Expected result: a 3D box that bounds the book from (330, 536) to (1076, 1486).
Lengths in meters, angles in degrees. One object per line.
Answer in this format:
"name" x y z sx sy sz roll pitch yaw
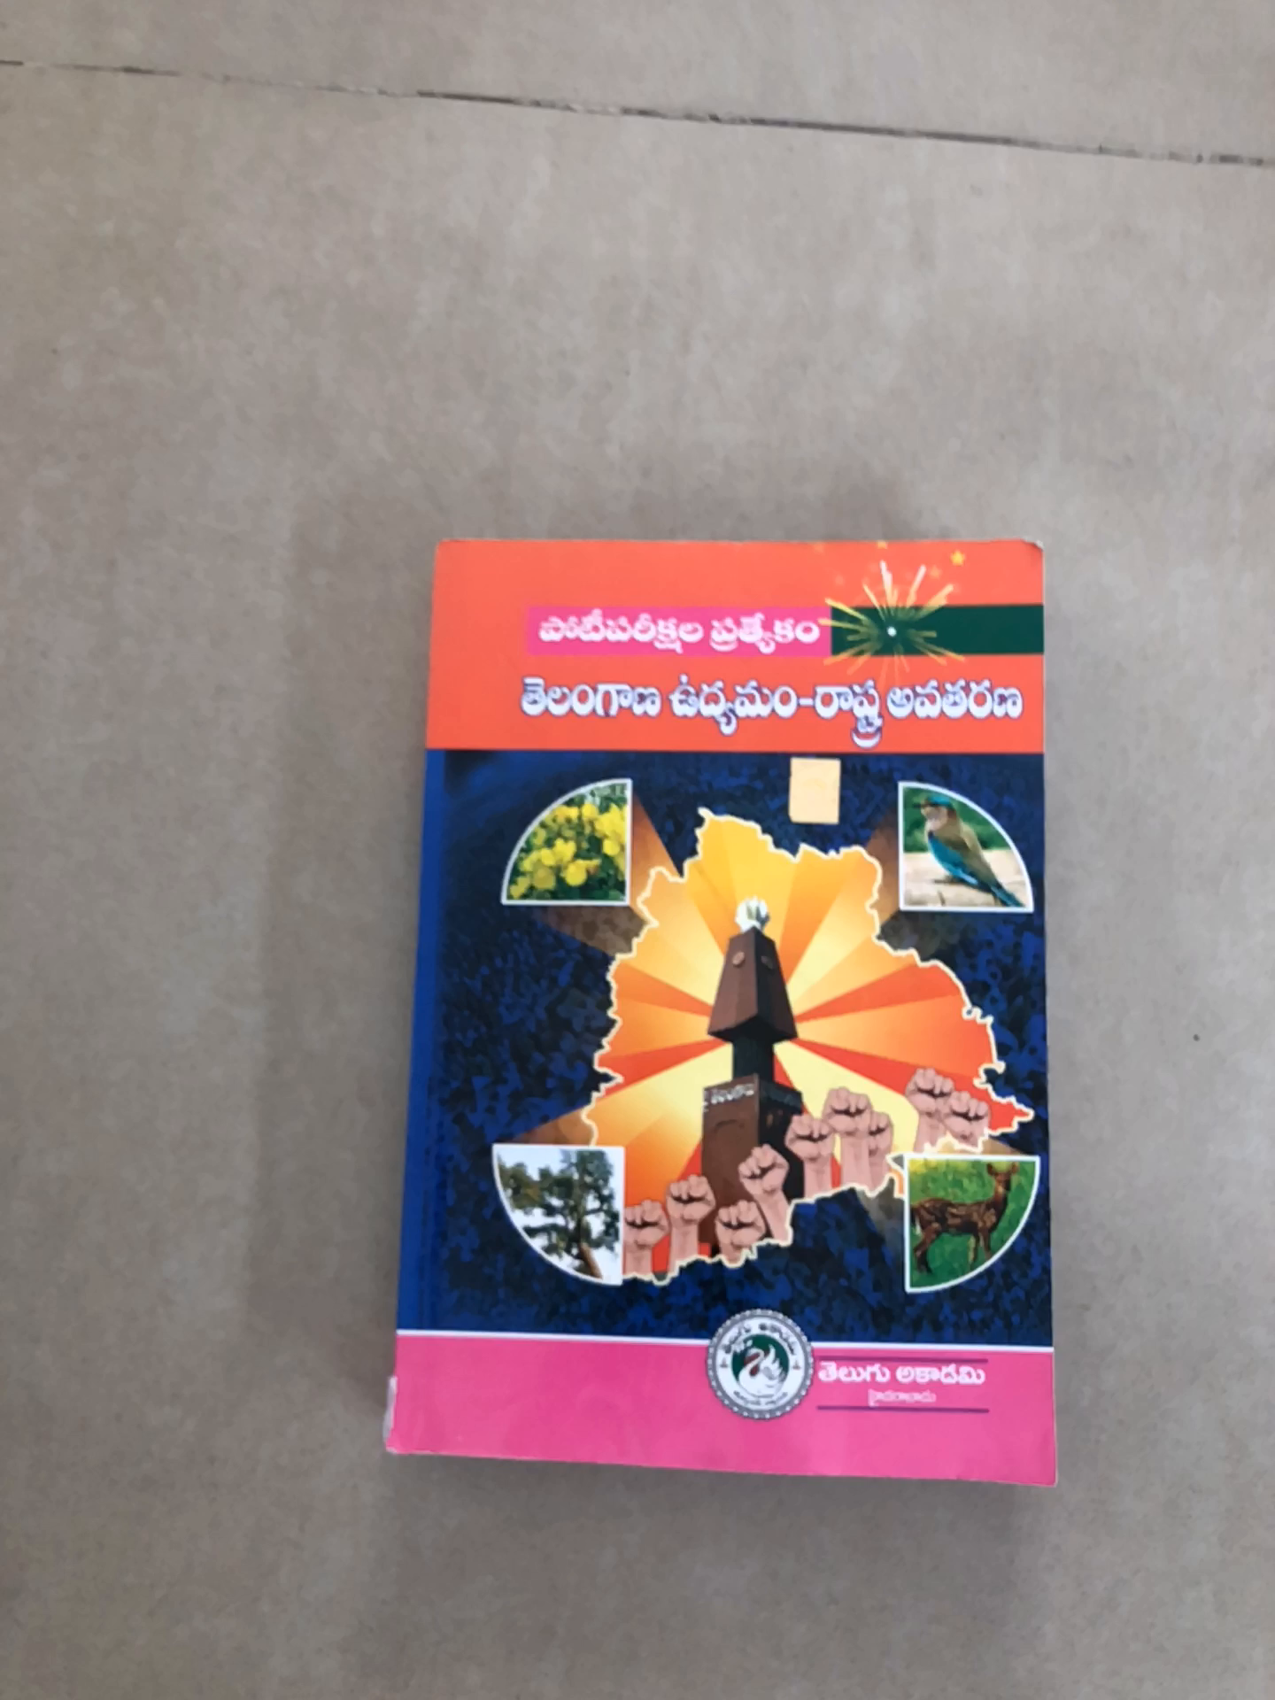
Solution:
"book" 0.020 0.040 0.424 0.202 0.040 0.265 1 81 4
